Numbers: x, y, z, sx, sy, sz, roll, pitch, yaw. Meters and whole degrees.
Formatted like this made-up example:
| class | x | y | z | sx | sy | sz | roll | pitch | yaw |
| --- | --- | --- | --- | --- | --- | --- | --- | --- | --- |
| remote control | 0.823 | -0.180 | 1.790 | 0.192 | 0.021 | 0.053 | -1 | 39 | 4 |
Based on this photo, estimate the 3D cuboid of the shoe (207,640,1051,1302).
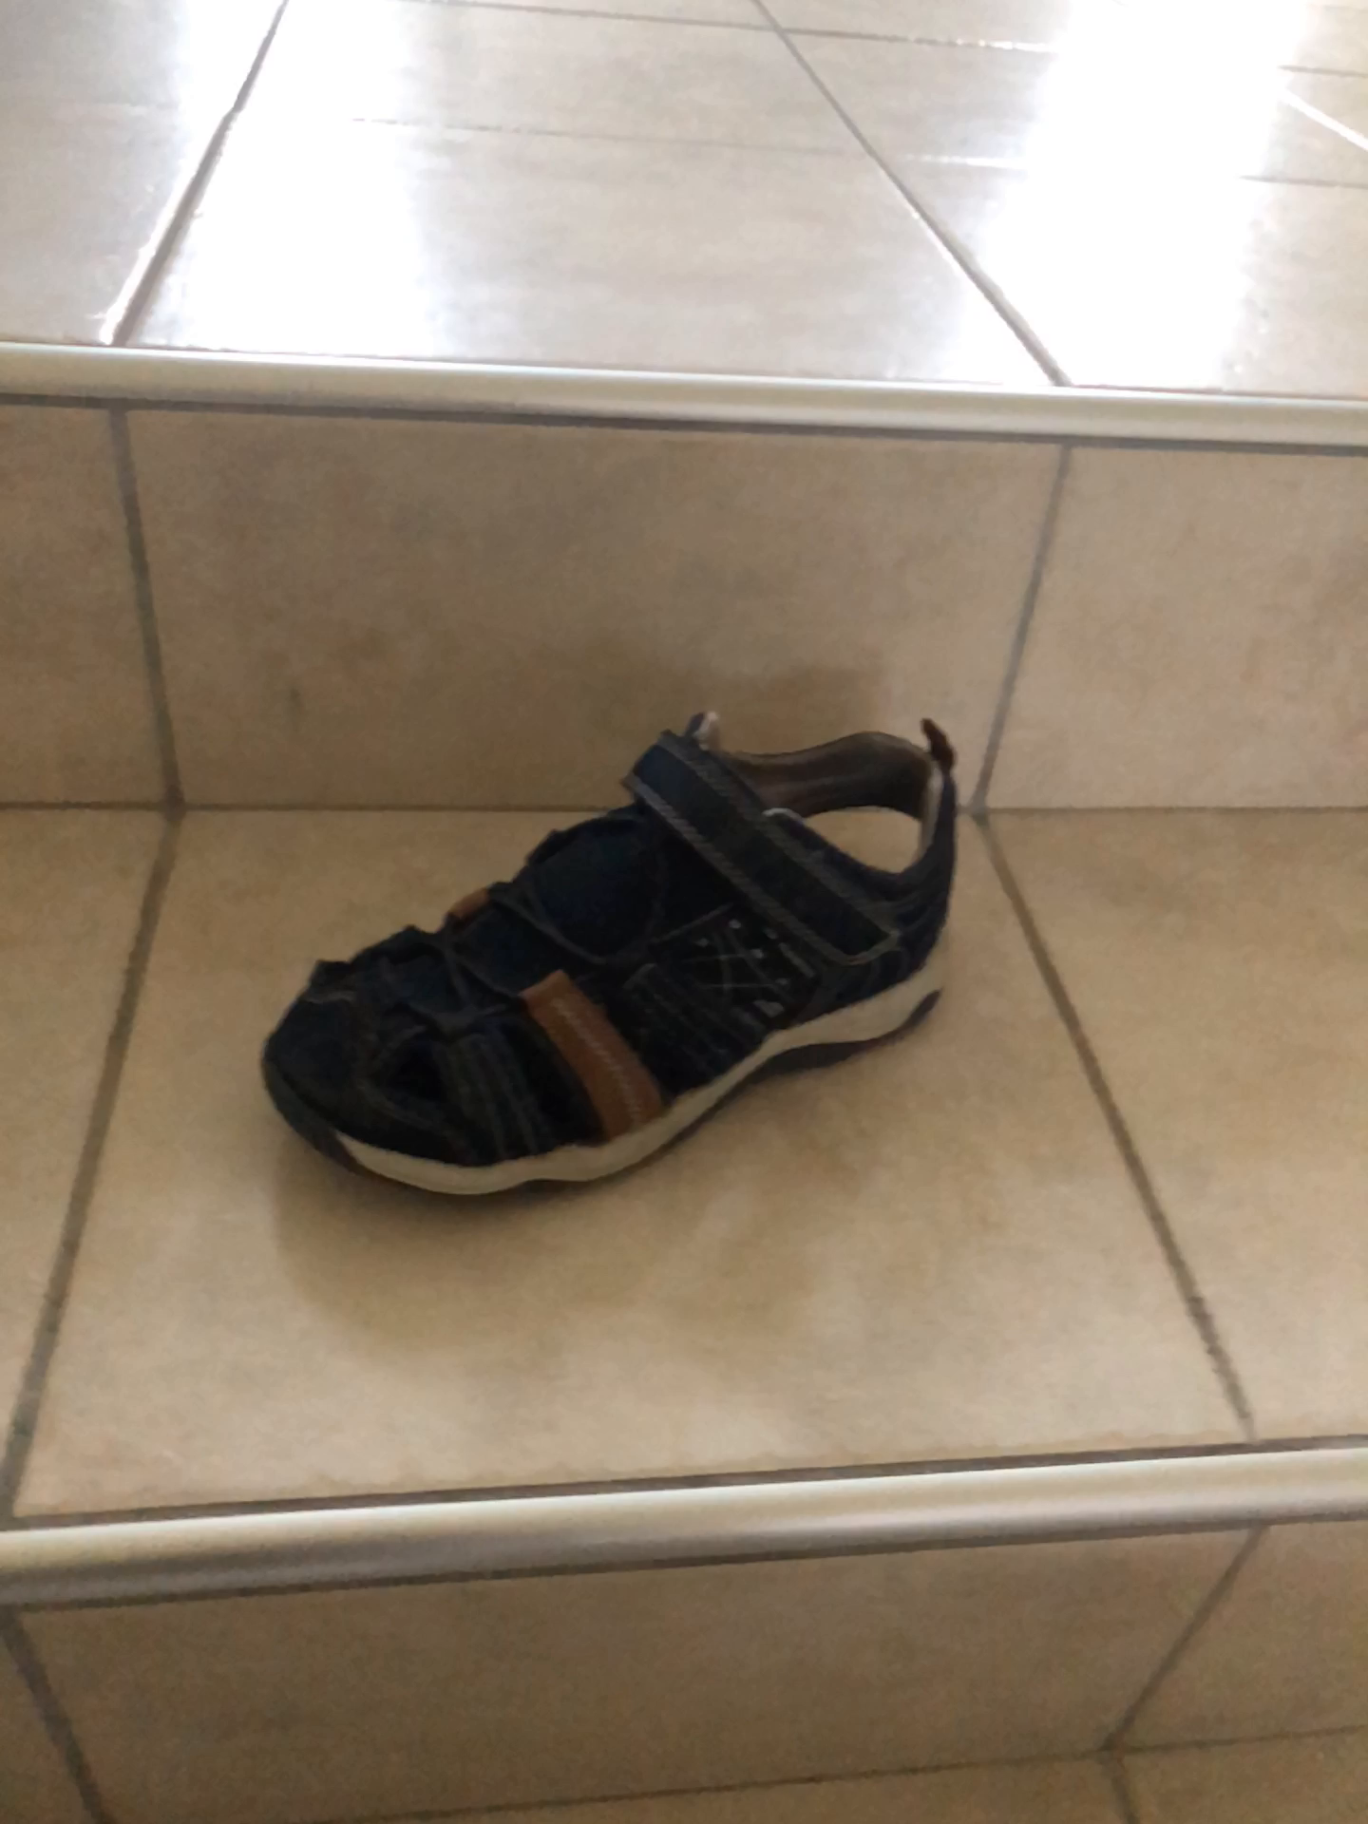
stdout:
| class | x | y | z | sx | sy | sz | roll | pitch | yaw |
| --- | --- | --- | --- | --- | --- | --- | --- | --- | --- |
| shoe | -0.012 | 0.007 | 0.451 | 0.221 | 0.099 | 0.090 | -20 | 45 | -28 |
